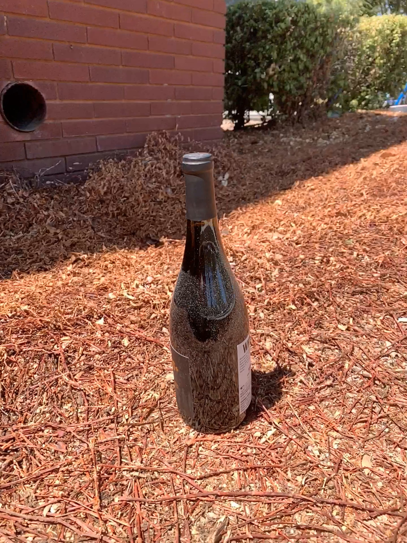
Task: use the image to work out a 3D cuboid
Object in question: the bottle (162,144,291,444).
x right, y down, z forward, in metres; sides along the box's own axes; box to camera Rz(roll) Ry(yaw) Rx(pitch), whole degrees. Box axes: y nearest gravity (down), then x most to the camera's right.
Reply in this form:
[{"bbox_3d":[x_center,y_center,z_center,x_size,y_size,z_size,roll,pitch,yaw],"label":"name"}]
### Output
[{"bbox_3d":[0.014,0.023,0.418,0.090,0.279,0.090,0,22,0],"label":"bottle"}]
